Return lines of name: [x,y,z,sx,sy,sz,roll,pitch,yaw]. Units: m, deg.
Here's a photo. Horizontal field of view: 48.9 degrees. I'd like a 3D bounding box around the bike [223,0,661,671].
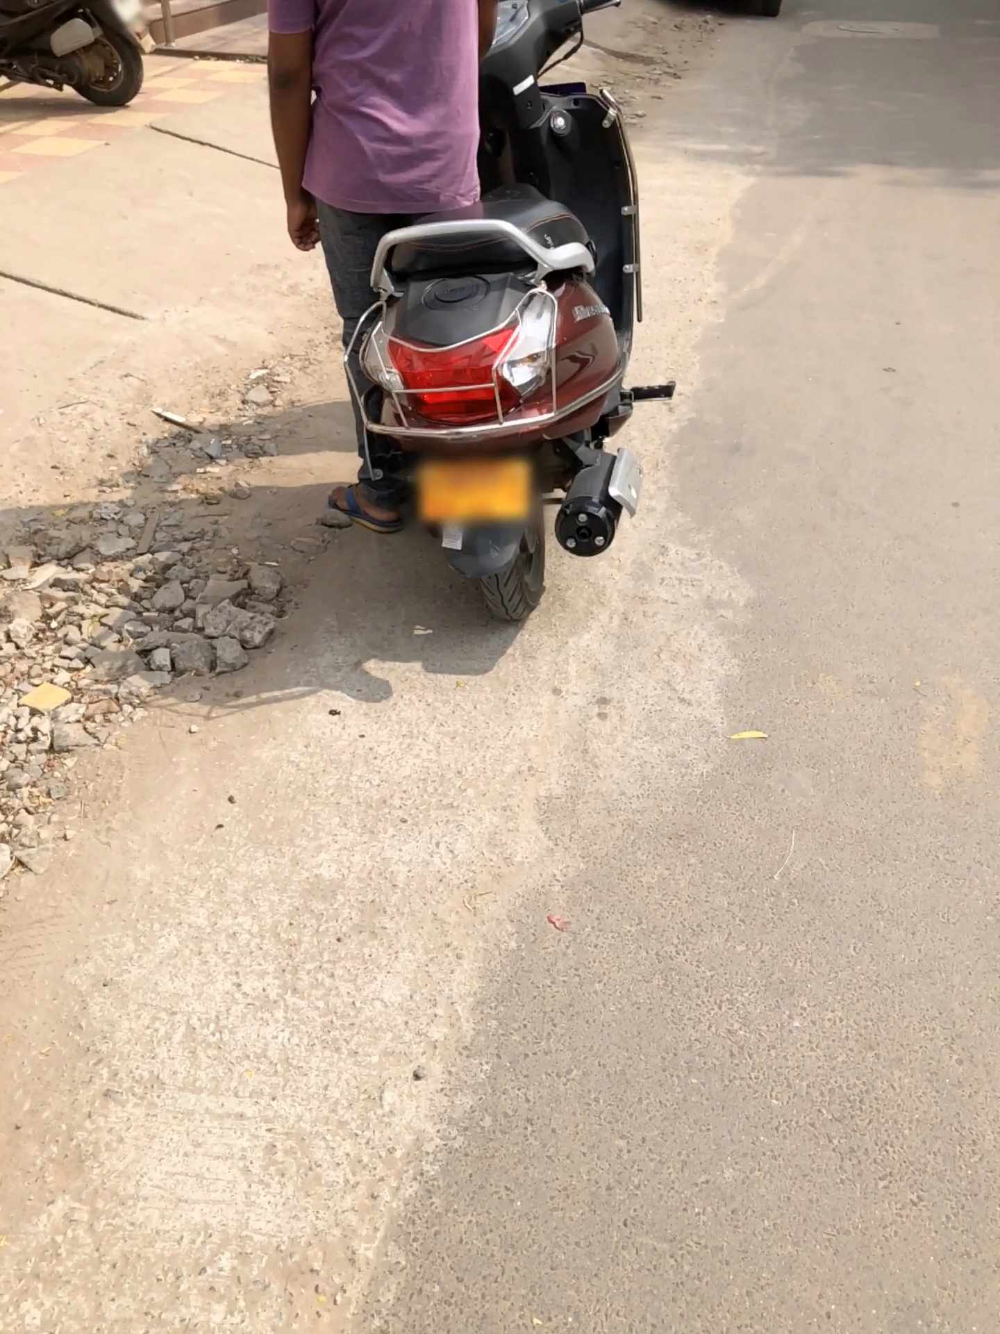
bike: [-0.045,-0.958,2.658,0.674,1.125,1.627,3,37,3]
